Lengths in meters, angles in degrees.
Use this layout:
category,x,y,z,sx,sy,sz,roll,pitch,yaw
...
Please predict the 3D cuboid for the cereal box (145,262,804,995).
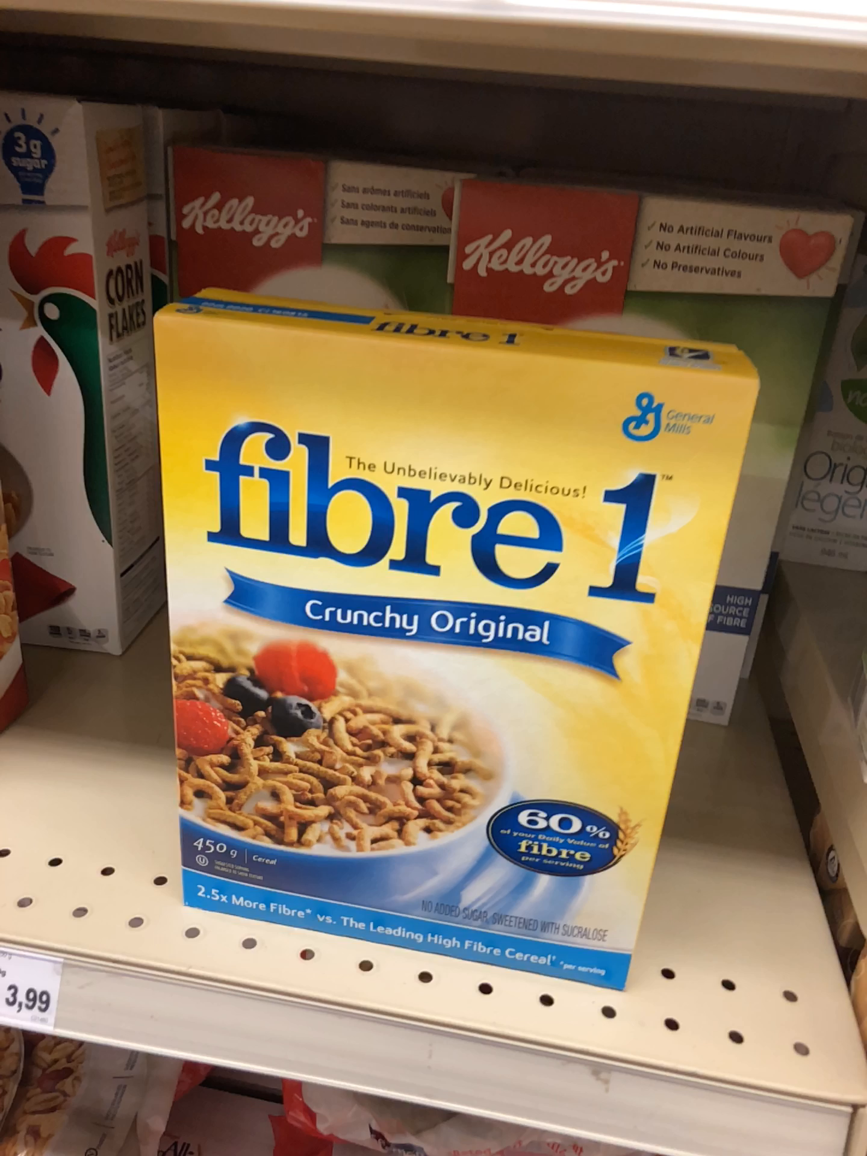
category,x,y,z,sx,sy,sz,roll,pitch,yaw
cereal box,0.004,0.027,0.385,0.210,0.268,0.060,9,26,8
